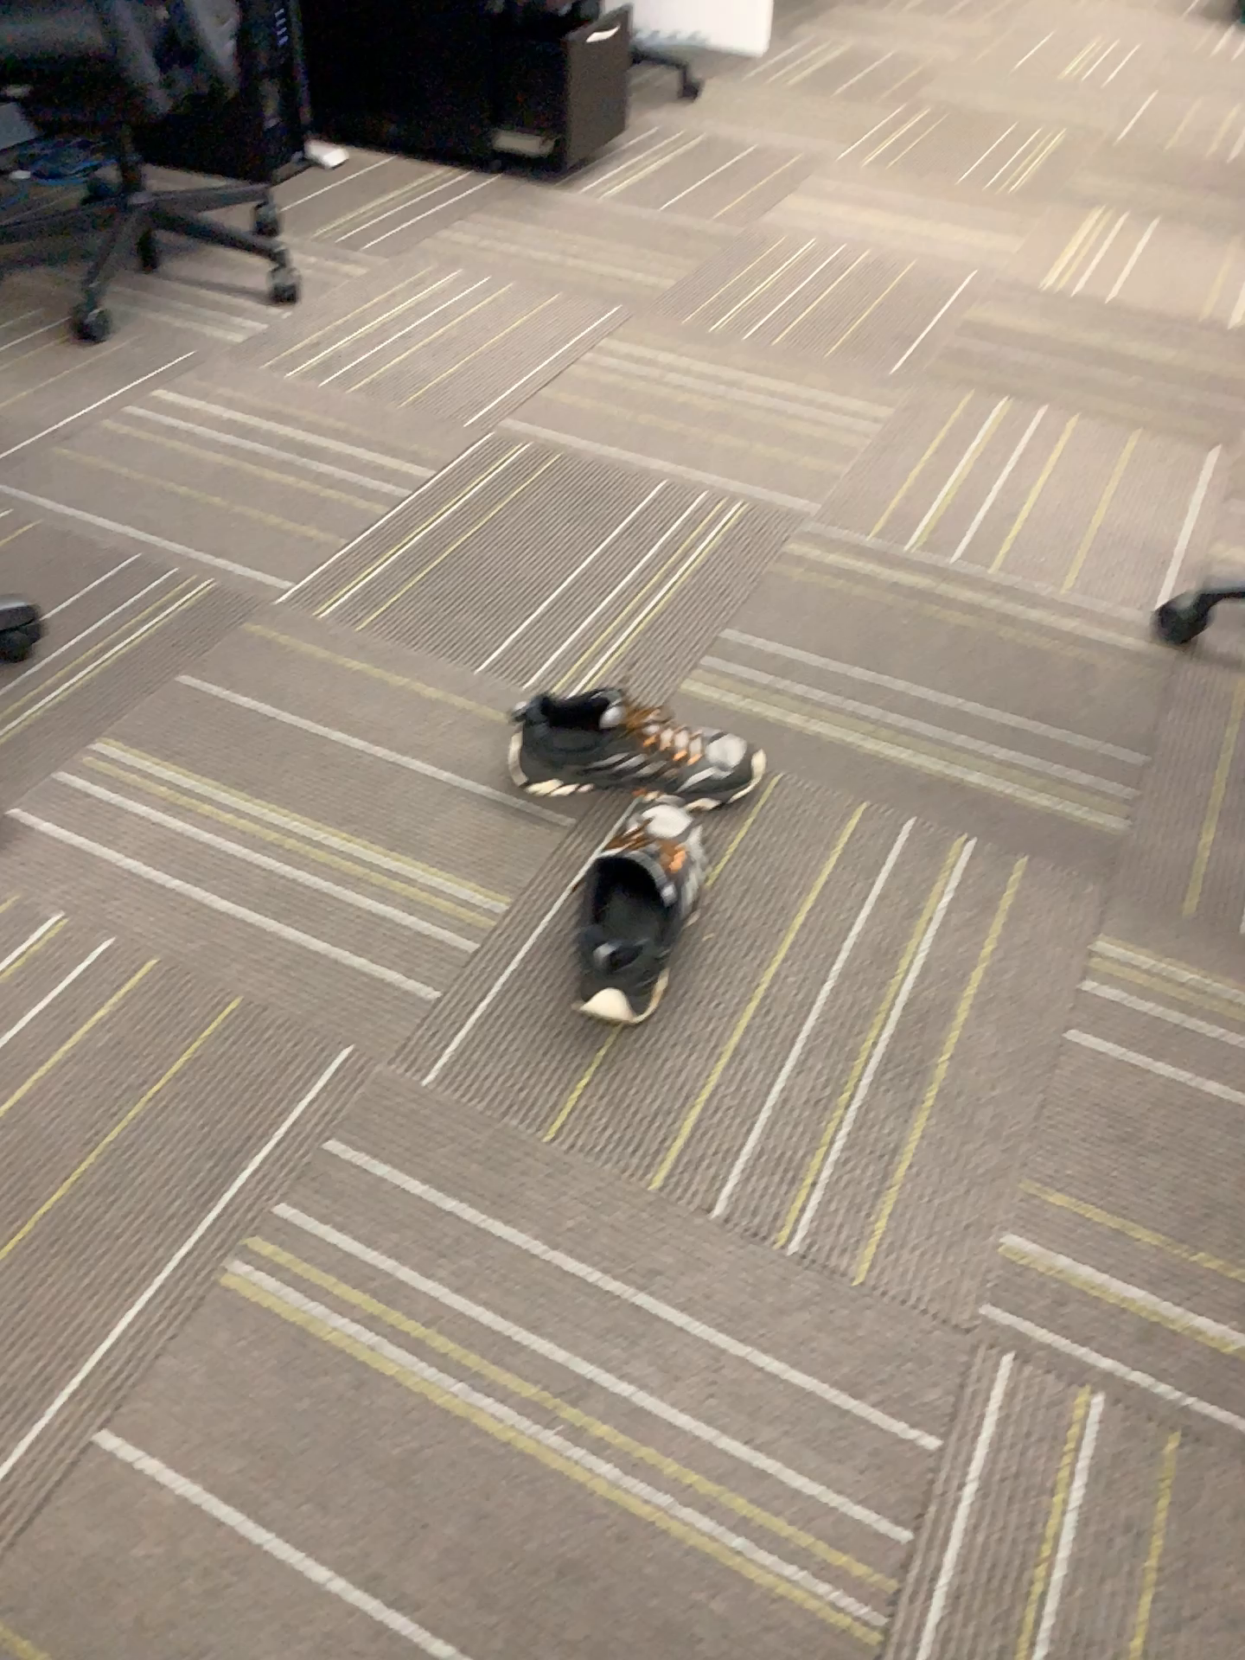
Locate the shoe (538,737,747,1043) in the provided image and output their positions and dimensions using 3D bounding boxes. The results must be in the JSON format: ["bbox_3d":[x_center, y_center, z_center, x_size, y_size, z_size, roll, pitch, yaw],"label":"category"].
[{"bbox_3d":[0.027,0.052,1.311,0.140,0.099,0.312,12,45,9],"label":"shoe"}]

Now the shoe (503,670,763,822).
[{"bbox_3d":[0.016,-0.107,1.595,0.310,0.099,0.141,5,45,2],"label":"shoe"}]
